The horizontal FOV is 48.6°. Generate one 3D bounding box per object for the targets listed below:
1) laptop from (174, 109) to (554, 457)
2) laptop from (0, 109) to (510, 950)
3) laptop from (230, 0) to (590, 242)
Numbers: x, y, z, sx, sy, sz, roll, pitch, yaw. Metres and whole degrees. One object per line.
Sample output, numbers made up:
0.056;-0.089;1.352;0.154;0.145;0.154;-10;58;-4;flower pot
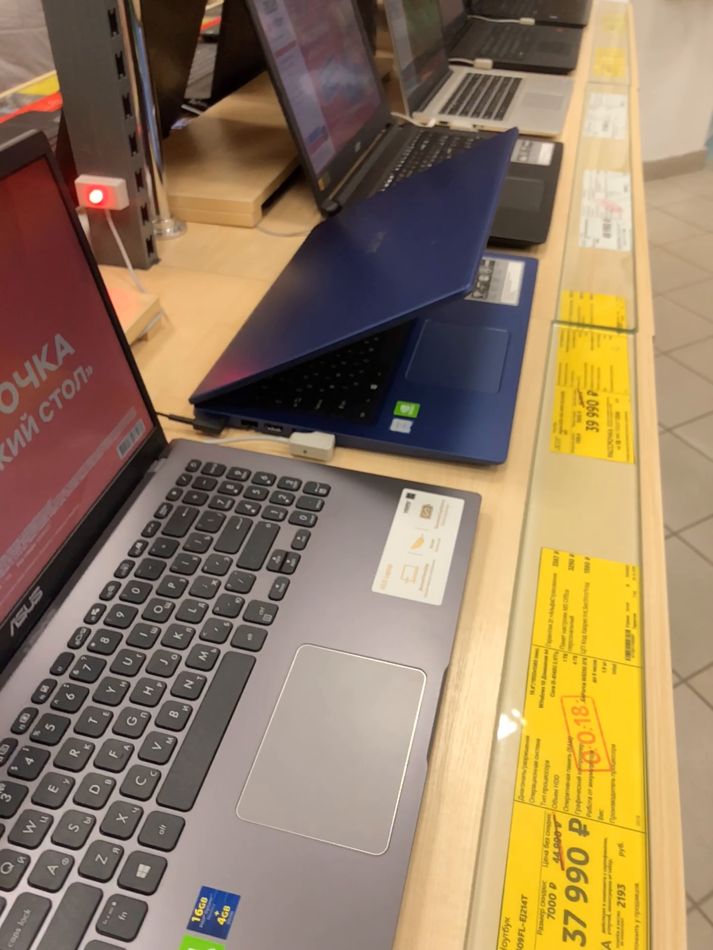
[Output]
0.034;-0.199;0.712;0.245;0.126;0.369;10;40;10;laptop
-0.110;0.020;0.353;0.302;0.206;0.392;12;39;8;laptop
0.083;-0.504;0.990;0.353;0.226;0.359;12;41;11;laptop
